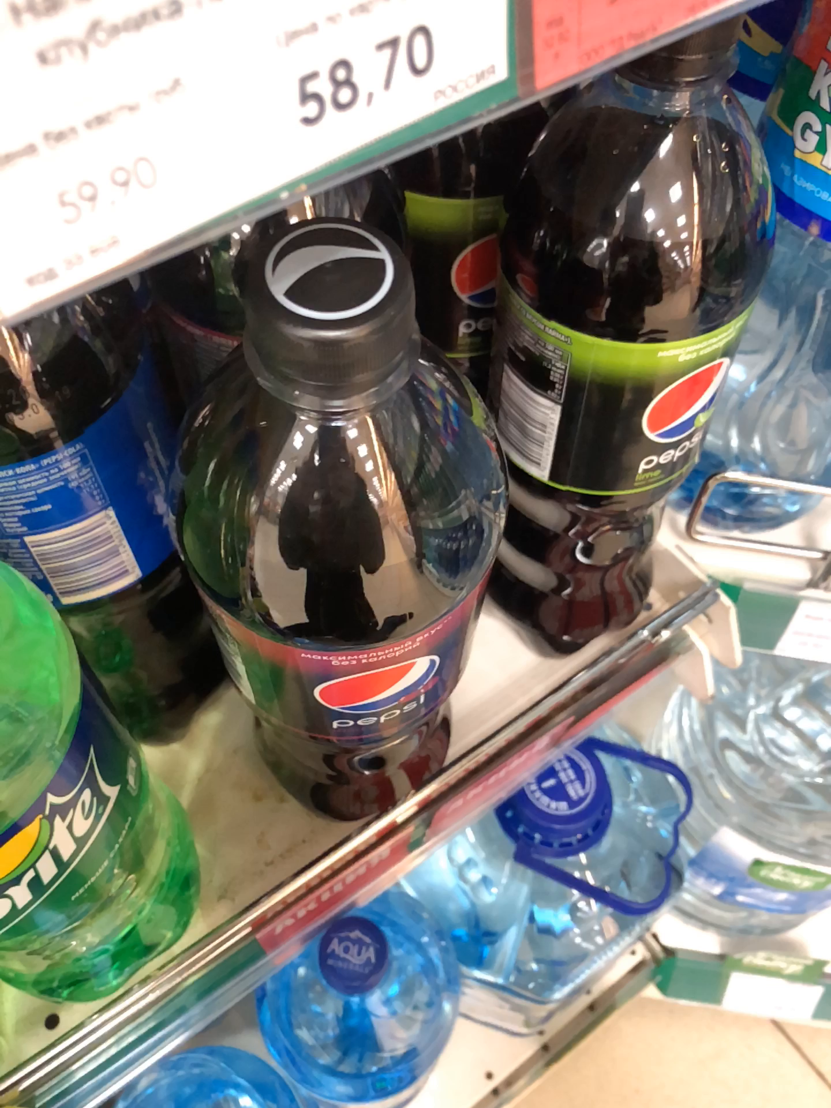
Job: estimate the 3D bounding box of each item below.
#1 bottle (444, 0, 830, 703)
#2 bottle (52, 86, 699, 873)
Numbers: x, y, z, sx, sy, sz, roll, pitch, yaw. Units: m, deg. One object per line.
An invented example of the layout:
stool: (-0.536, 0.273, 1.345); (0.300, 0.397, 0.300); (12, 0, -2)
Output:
bottle: (0.071, -0.051, 0.318); (0.086, 0.264, 0.077); (-19, 60, -13)
bottle: (-0.016, 0.015, 0.267); (0.086, 0.257, 0.077); (-19, 64, -13)
